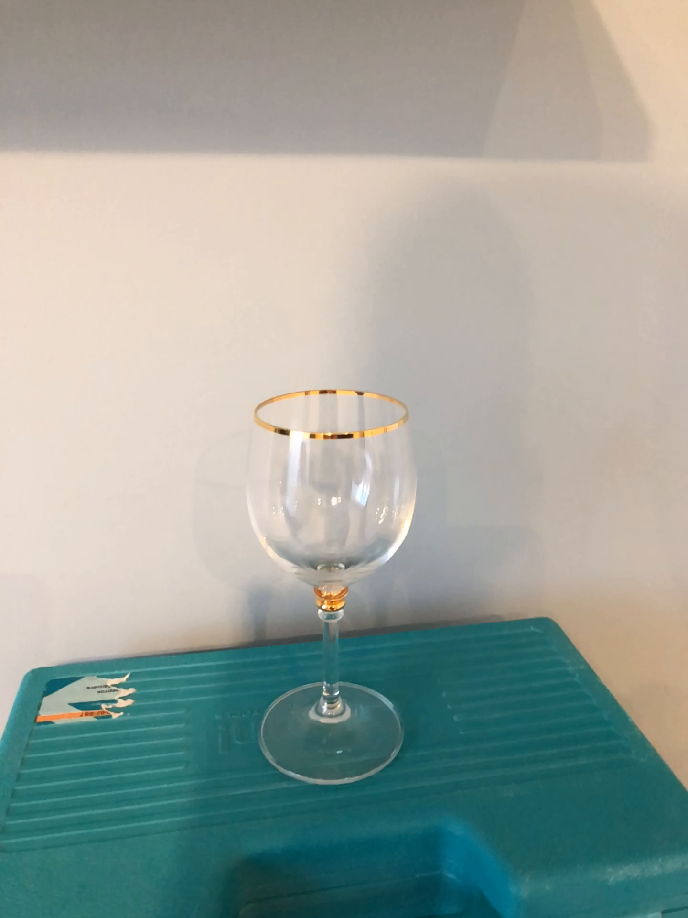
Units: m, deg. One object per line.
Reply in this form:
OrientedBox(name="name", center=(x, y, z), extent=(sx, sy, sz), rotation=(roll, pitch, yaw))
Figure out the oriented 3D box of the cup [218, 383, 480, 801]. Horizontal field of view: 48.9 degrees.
OrientedBox(name="cup", center=(-0.005, 0.056, 0.360), extent=(0.100, 0.159, 0.101), rotation=(0, 20, 0))
